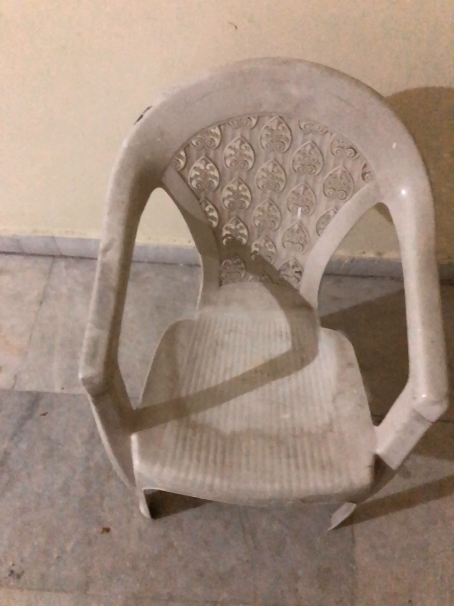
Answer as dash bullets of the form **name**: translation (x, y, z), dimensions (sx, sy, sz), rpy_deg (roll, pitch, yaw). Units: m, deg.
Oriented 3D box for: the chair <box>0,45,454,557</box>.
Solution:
- **chair**: translation (0.062, 0.104, 0.897), dimensions (0.530, 0.836, 0.512), rpy_deg (4, 58, 1)
